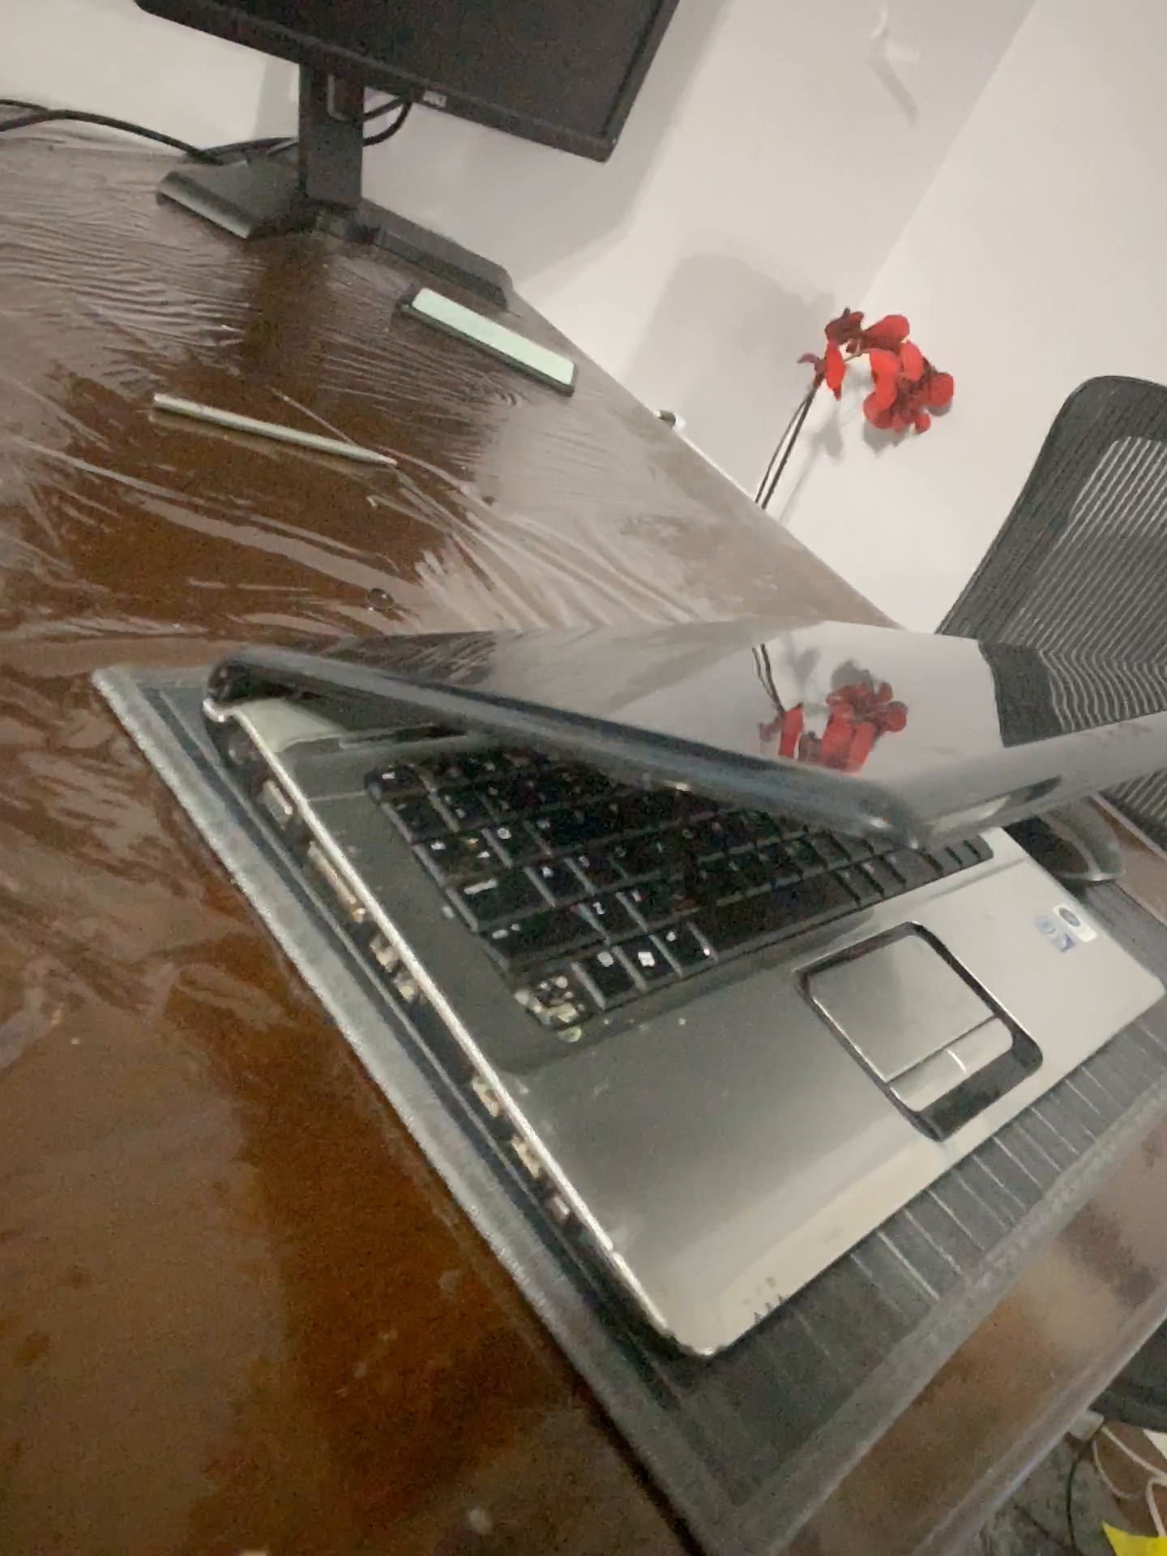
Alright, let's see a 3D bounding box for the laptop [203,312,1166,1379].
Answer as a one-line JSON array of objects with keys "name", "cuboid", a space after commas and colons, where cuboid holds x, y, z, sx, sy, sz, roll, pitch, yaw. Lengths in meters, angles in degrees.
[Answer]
[{"name": "laptop", "cuboid": [0.086, -0.017, 0.415, 0.344, 0.109, 0.244, -11, 53, -50]}]
